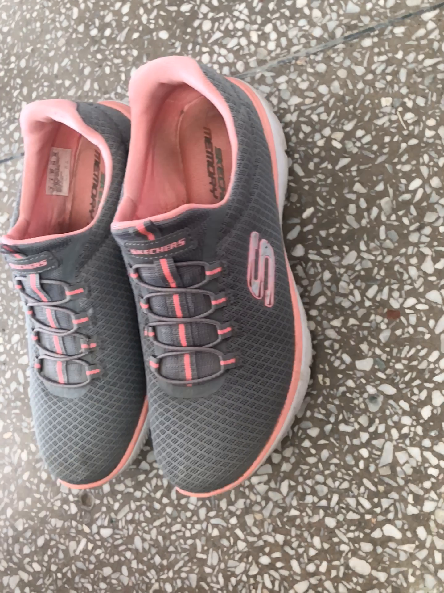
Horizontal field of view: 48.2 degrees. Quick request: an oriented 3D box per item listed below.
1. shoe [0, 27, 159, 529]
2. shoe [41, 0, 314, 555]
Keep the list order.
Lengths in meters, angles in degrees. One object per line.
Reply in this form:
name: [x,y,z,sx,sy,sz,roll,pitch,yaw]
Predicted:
shoe: [-0.109,-0.010,0.308,0.097,0.095,0.252,-3,81,22]
shoe: [-0.013,-0.015,0.274,0.102,0.108,0.246,-3,81,22]
